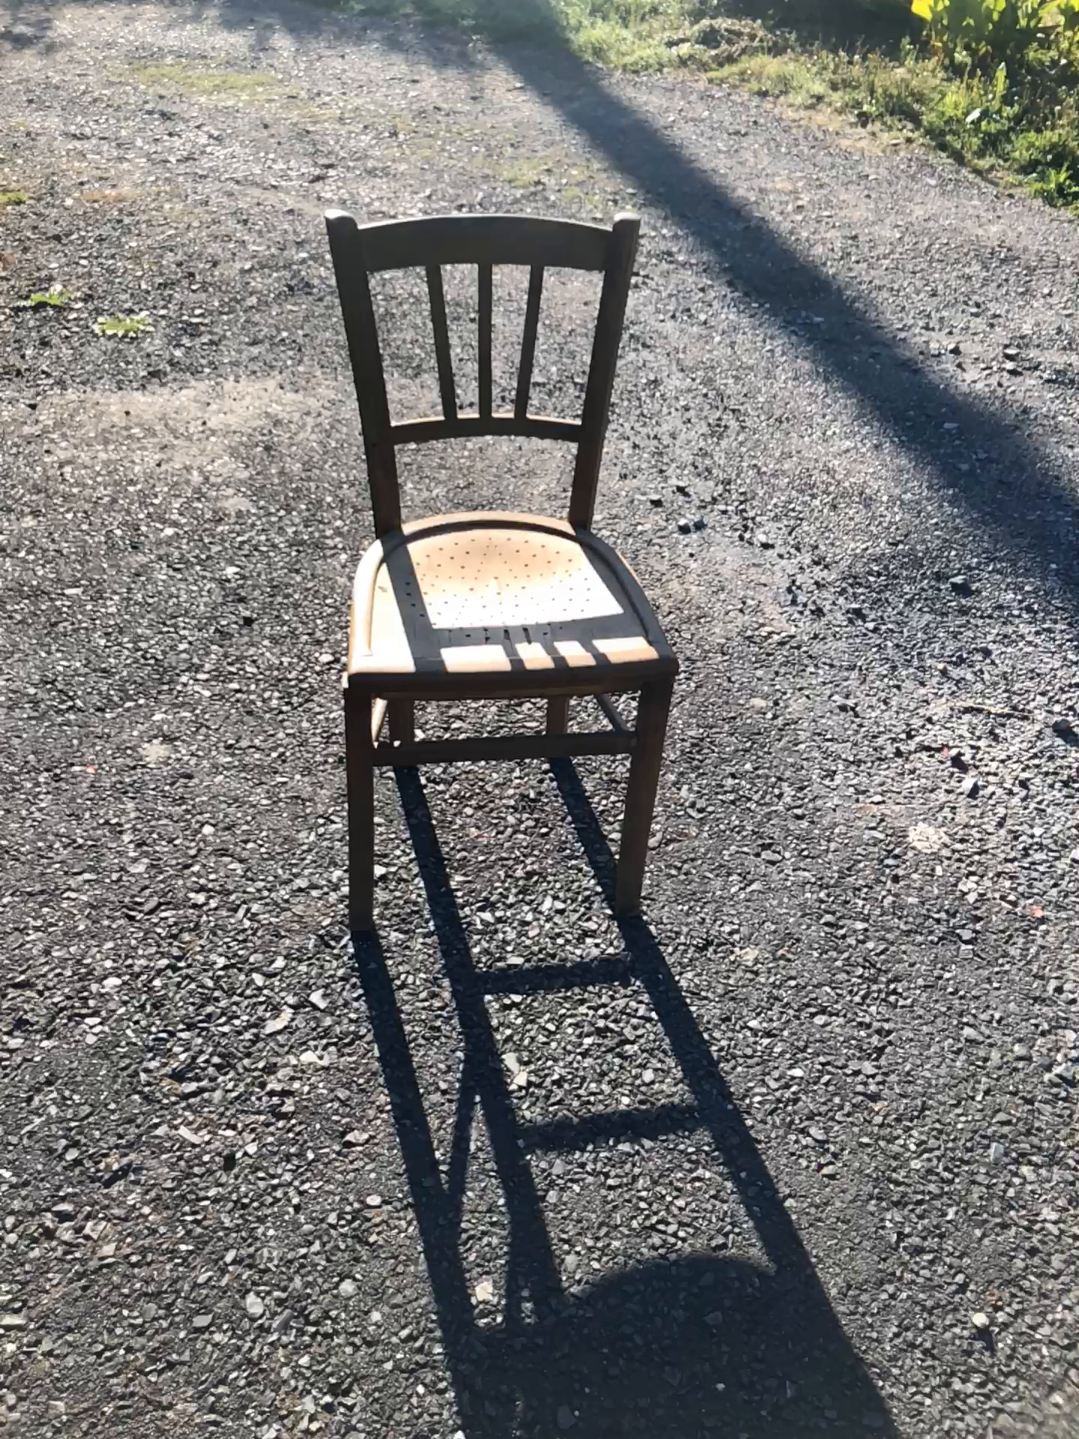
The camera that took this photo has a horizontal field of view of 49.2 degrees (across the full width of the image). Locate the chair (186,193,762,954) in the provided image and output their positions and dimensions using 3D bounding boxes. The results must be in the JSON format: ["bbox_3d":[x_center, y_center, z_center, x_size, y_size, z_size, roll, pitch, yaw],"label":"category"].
[{"bbox_3d":[-0.084,-0.169,1.453,0.490,0.735,0.543,-3,43,-5],"label":"chair"}]
